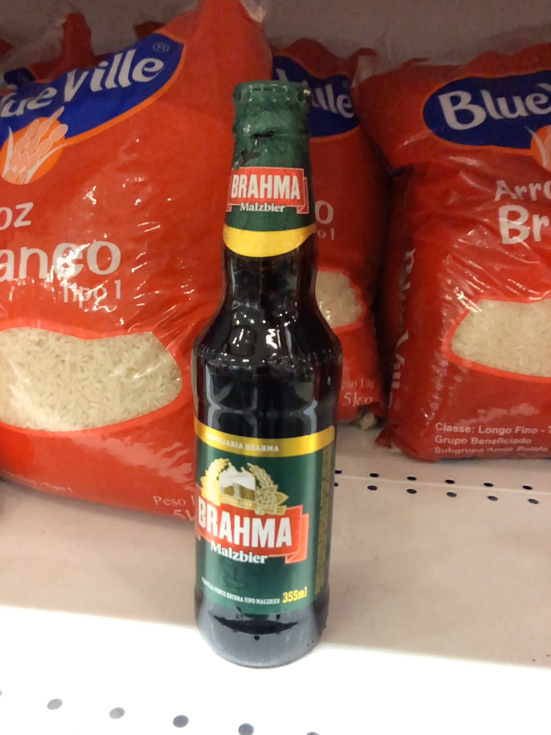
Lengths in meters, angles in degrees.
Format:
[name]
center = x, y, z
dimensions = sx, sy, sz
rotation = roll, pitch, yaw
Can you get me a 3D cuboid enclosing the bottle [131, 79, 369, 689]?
[bottle]
center = -0.007, 0.012, 0.248
dimensions = 0.070, 0.229, 0.060
rotation = 5, 20, 10
